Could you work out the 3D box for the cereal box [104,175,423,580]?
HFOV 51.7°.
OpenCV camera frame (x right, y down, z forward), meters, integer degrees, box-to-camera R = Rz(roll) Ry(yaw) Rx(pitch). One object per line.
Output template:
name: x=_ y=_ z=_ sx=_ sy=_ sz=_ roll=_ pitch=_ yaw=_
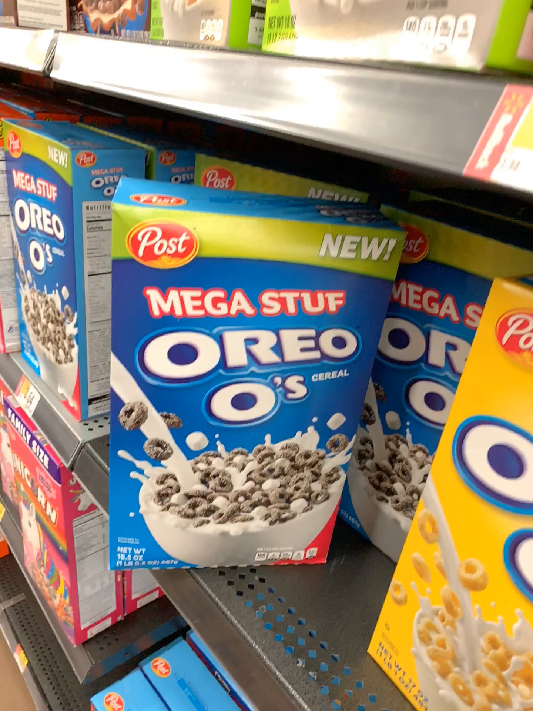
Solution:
cereal box: x=-0.023 y=0.036 z=0.463 sx=0.210 sy=0.328 sz=0.080 roll=2 pitch=28 yaw=-12
